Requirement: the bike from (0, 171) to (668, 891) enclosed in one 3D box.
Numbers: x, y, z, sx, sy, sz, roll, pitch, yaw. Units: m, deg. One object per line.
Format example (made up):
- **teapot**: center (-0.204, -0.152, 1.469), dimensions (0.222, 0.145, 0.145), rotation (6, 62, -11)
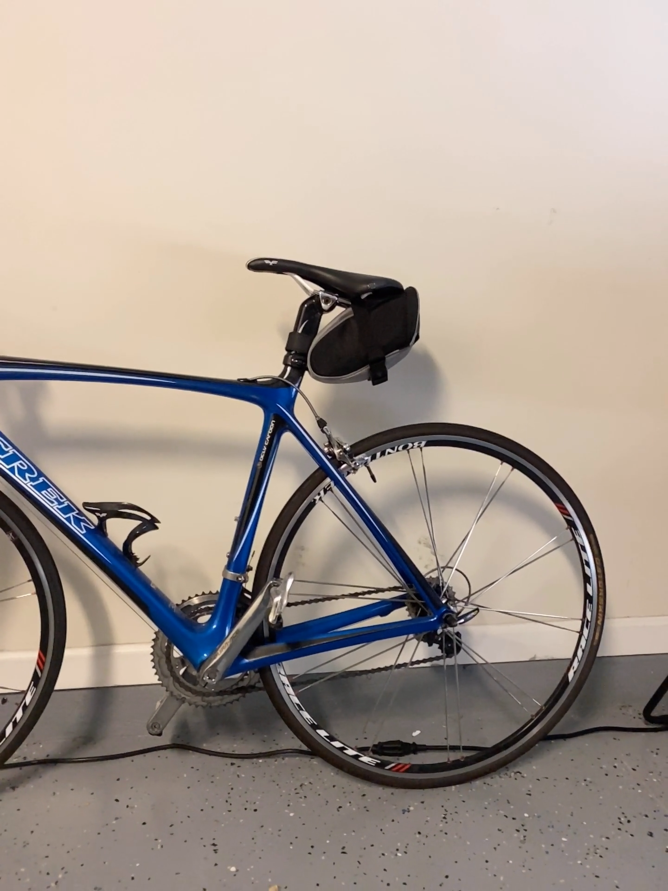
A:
- **bike**: center (-0.200, 0.229, 1.083), dimensions (1.639, 0.883, 0.401), rotation (2, 8, -20)
